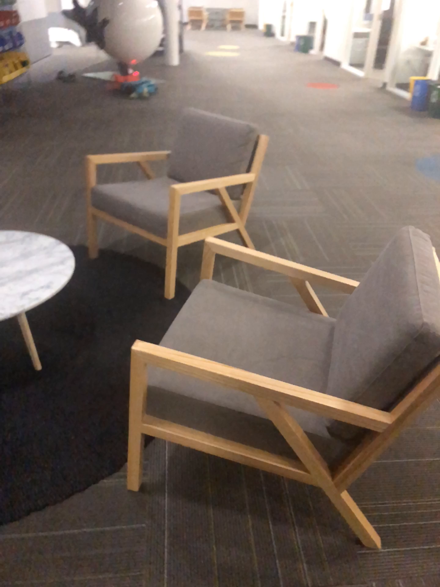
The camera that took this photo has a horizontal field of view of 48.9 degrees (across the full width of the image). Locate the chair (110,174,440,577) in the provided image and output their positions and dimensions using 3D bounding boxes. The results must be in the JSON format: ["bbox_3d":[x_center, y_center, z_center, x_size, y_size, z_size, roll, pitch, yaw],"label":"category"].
[{"bbox_3d":[0.207,0.184,1.494,0.800,0.773,0.726,12,33,10],"label":"chair"}]

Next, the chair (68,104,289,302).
[{"bbox_3d":[-0.218,-0.561,2.650,0.721,0.754,0.876,25,34,33],"label":"chair"}]
